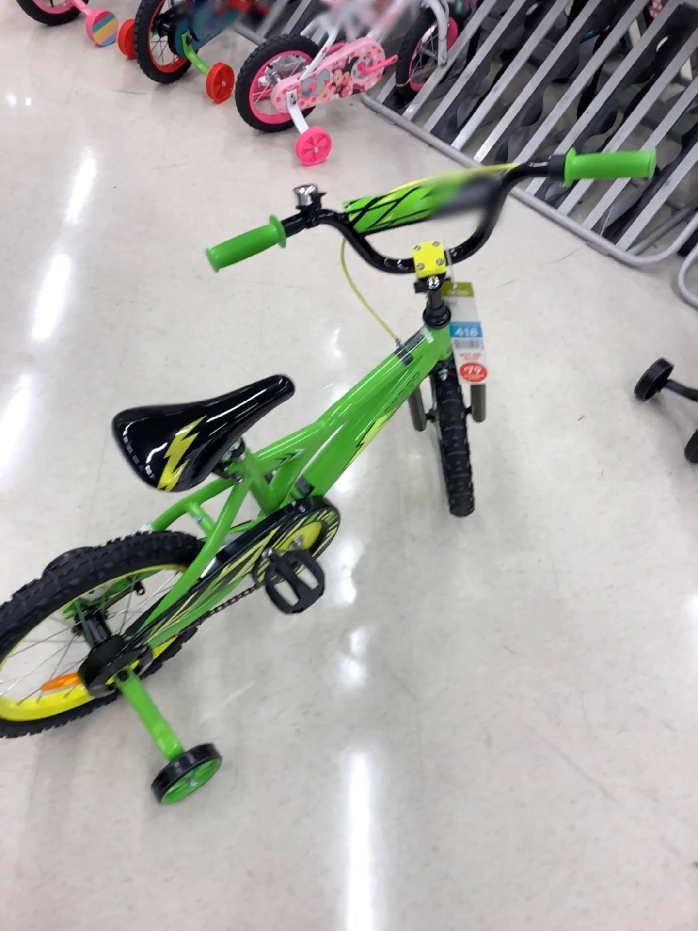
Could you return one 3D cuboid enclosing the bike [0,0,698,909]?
[{"bbox_3d":[-0.128,-0.142,1.060,0.553,0.806,1.047,39,63,19],"label":"bike"}]
